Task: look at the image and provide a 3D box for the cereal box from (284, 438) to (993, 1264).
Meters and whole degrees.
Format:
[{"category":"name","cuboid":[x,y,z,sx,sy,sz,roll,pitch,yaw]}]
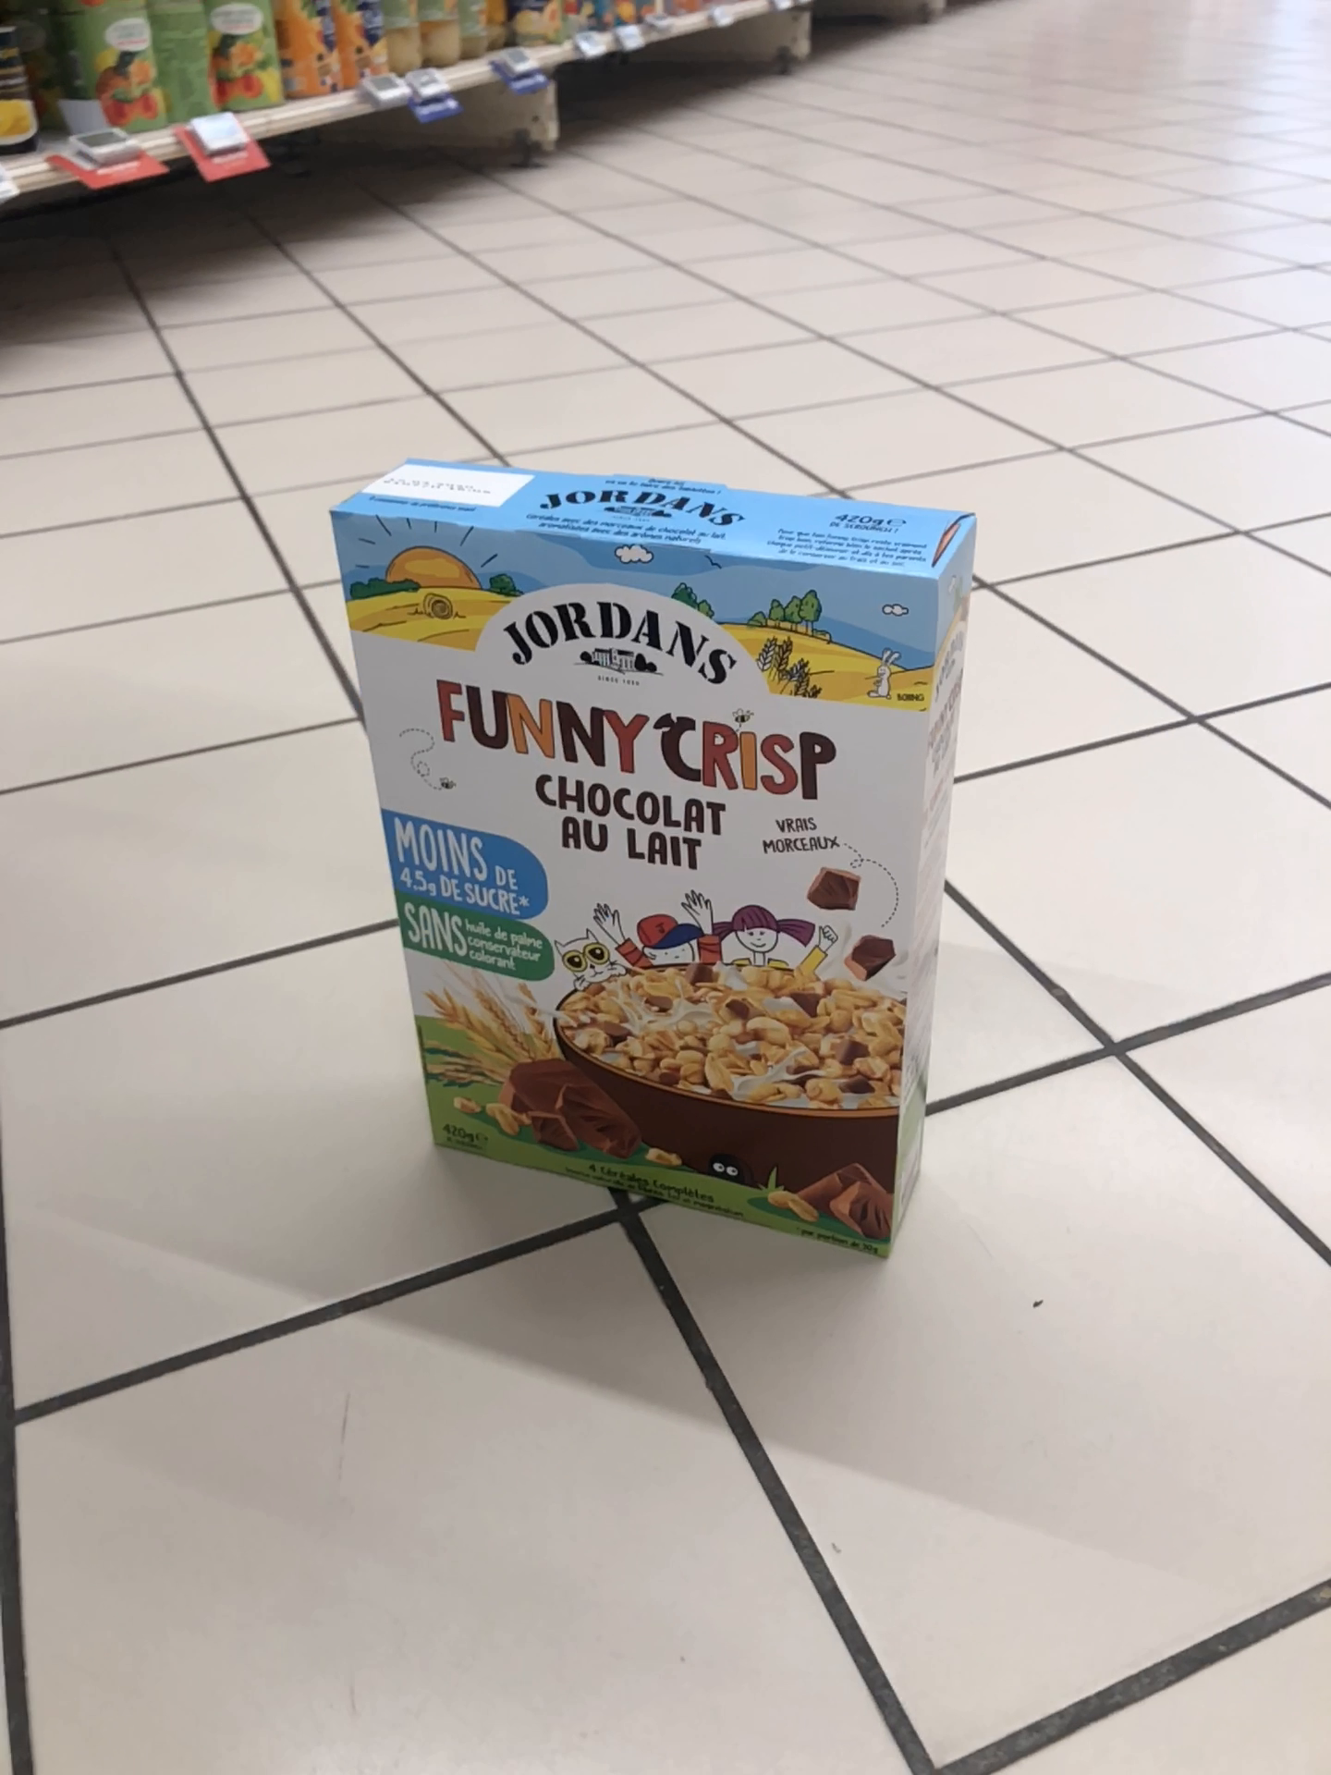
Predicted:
[{"category":"cereal box","cuboid":[-0.005,-0.008,0.454,0.180,0.229,0.060,11,36,19]}]
